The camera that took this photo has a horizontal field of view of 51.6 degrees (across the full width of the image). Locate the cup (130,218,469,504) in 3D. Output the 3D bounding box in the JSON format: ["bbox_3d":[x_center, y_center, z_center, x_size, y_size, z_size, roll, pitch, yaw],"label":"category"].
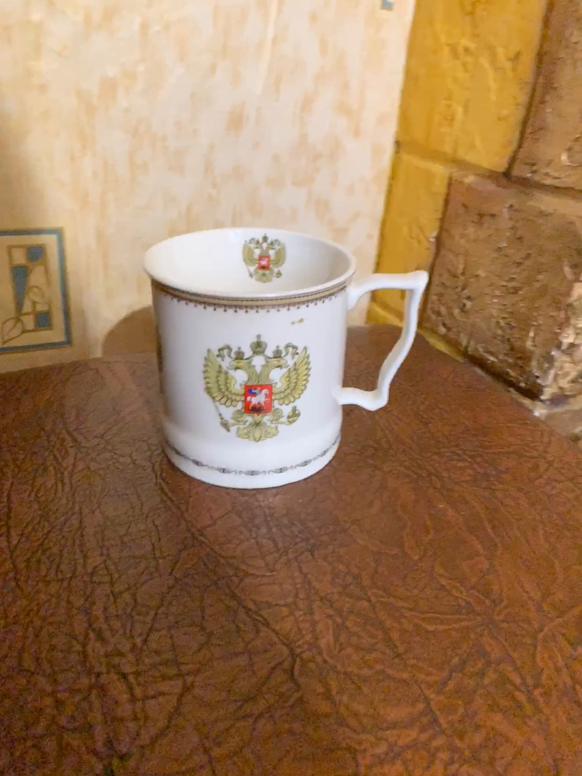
[{"bbox_3d":[-0.002,-0.016,0.289,0.126,0.097,0.100,2,29,-6],"label":"cup"}]
